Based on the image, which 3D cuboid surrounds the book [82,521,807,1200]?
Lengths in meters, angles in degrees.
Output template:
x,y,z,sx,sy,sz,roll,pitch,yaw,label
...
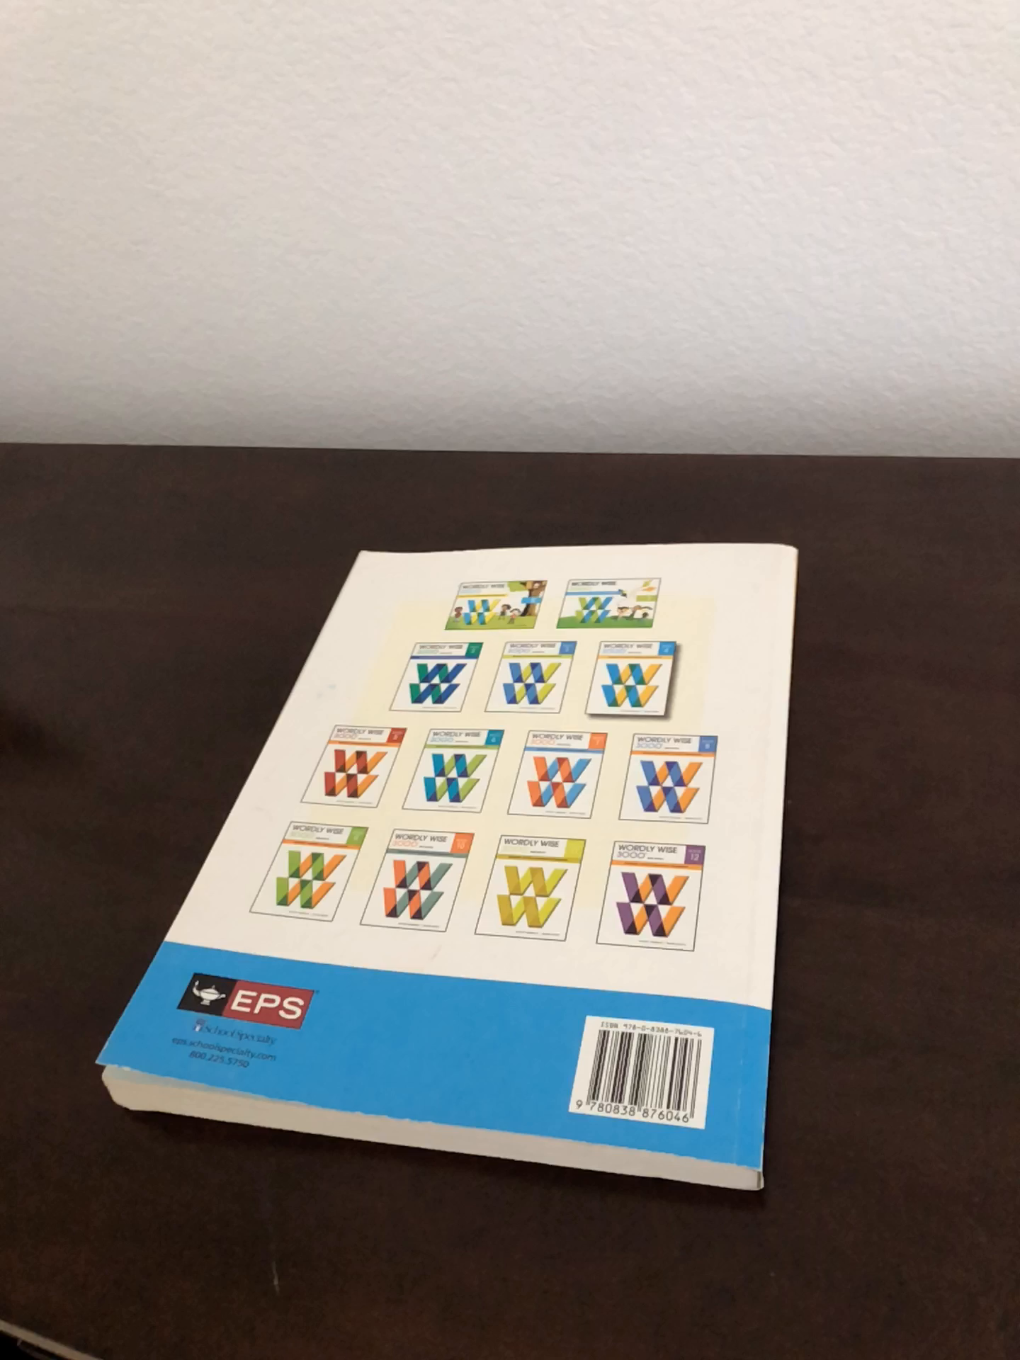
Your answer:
x,y,z,sx,sy,sz,roll,pitch,yaw,label
-0.003,0.040,0.437,0.220,0.031,0.272,0,46,17,book
